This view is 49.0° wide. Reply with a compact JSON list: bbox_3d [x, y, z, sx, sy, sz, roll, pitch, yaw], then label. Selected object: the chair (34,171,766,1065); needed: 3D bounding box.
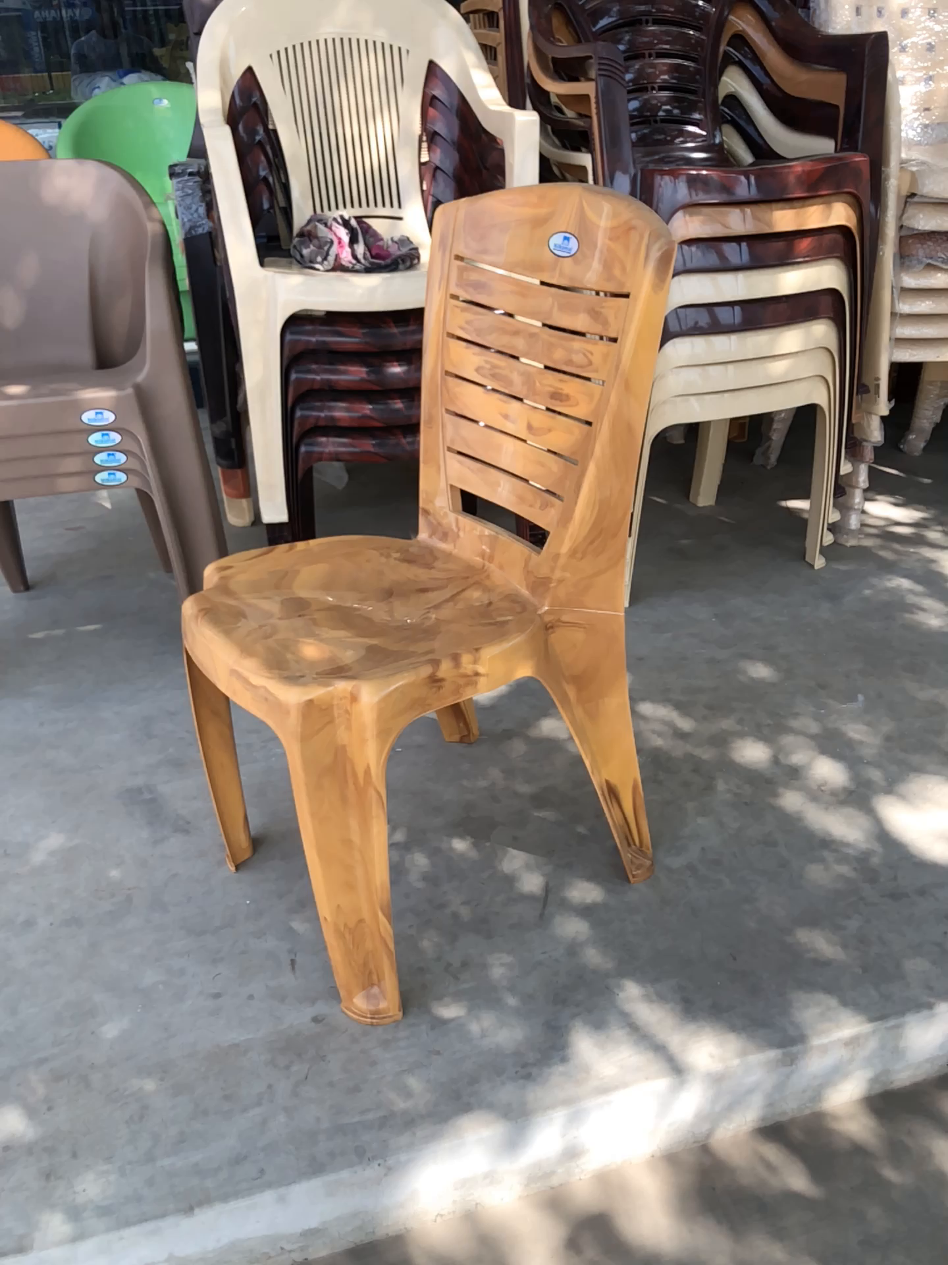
[{"bbox_3d":[-0.070,-0.075,1.250,0.562,0.816,0.501,-22,34,-32],"label":"chair"}]
